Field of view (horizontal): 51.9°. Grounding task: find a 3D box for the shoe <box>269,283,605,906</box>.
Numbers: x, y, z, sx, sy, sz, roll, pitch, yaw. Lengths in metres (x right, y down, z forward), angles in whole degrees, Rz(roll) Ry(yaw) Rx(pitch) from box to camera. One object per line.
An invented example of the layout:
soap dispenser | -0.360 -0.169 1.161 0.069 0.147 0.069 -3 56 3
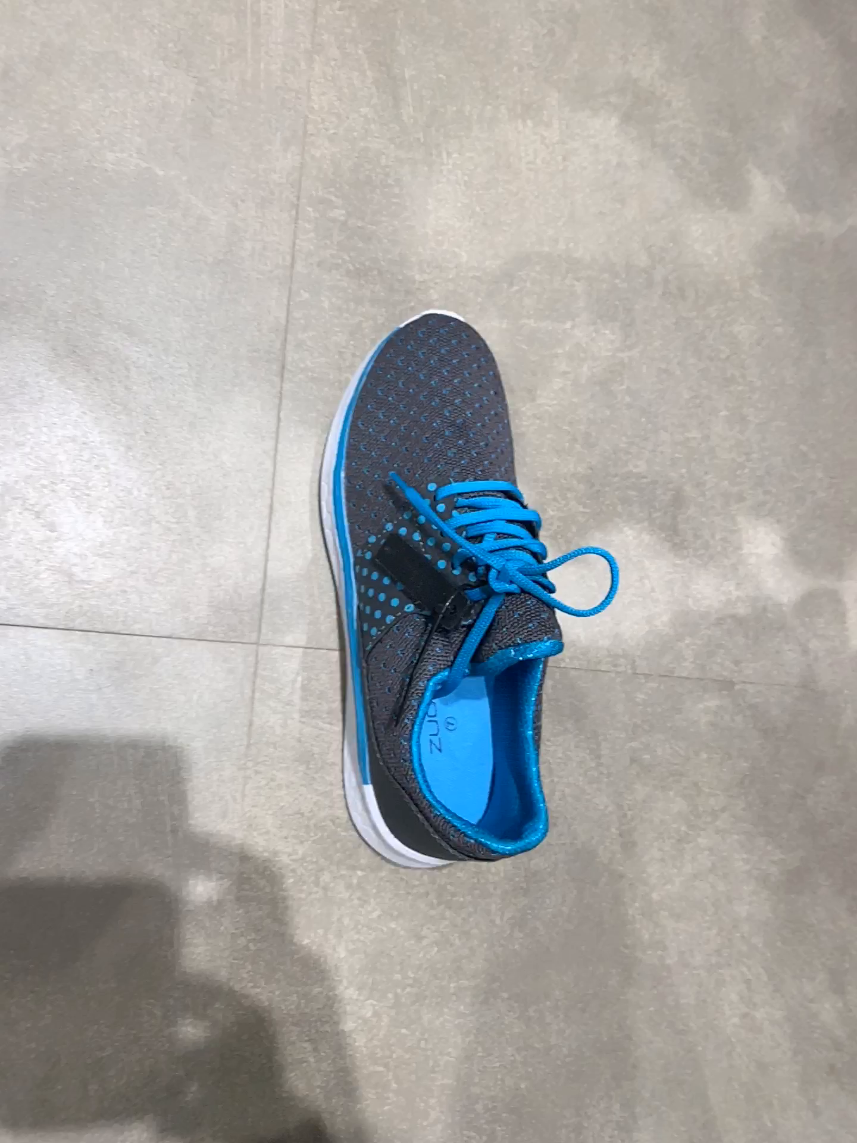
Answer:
shoe | -0.004 0.009 0.385 0.102 0.102 0.227 -2 84 -21
